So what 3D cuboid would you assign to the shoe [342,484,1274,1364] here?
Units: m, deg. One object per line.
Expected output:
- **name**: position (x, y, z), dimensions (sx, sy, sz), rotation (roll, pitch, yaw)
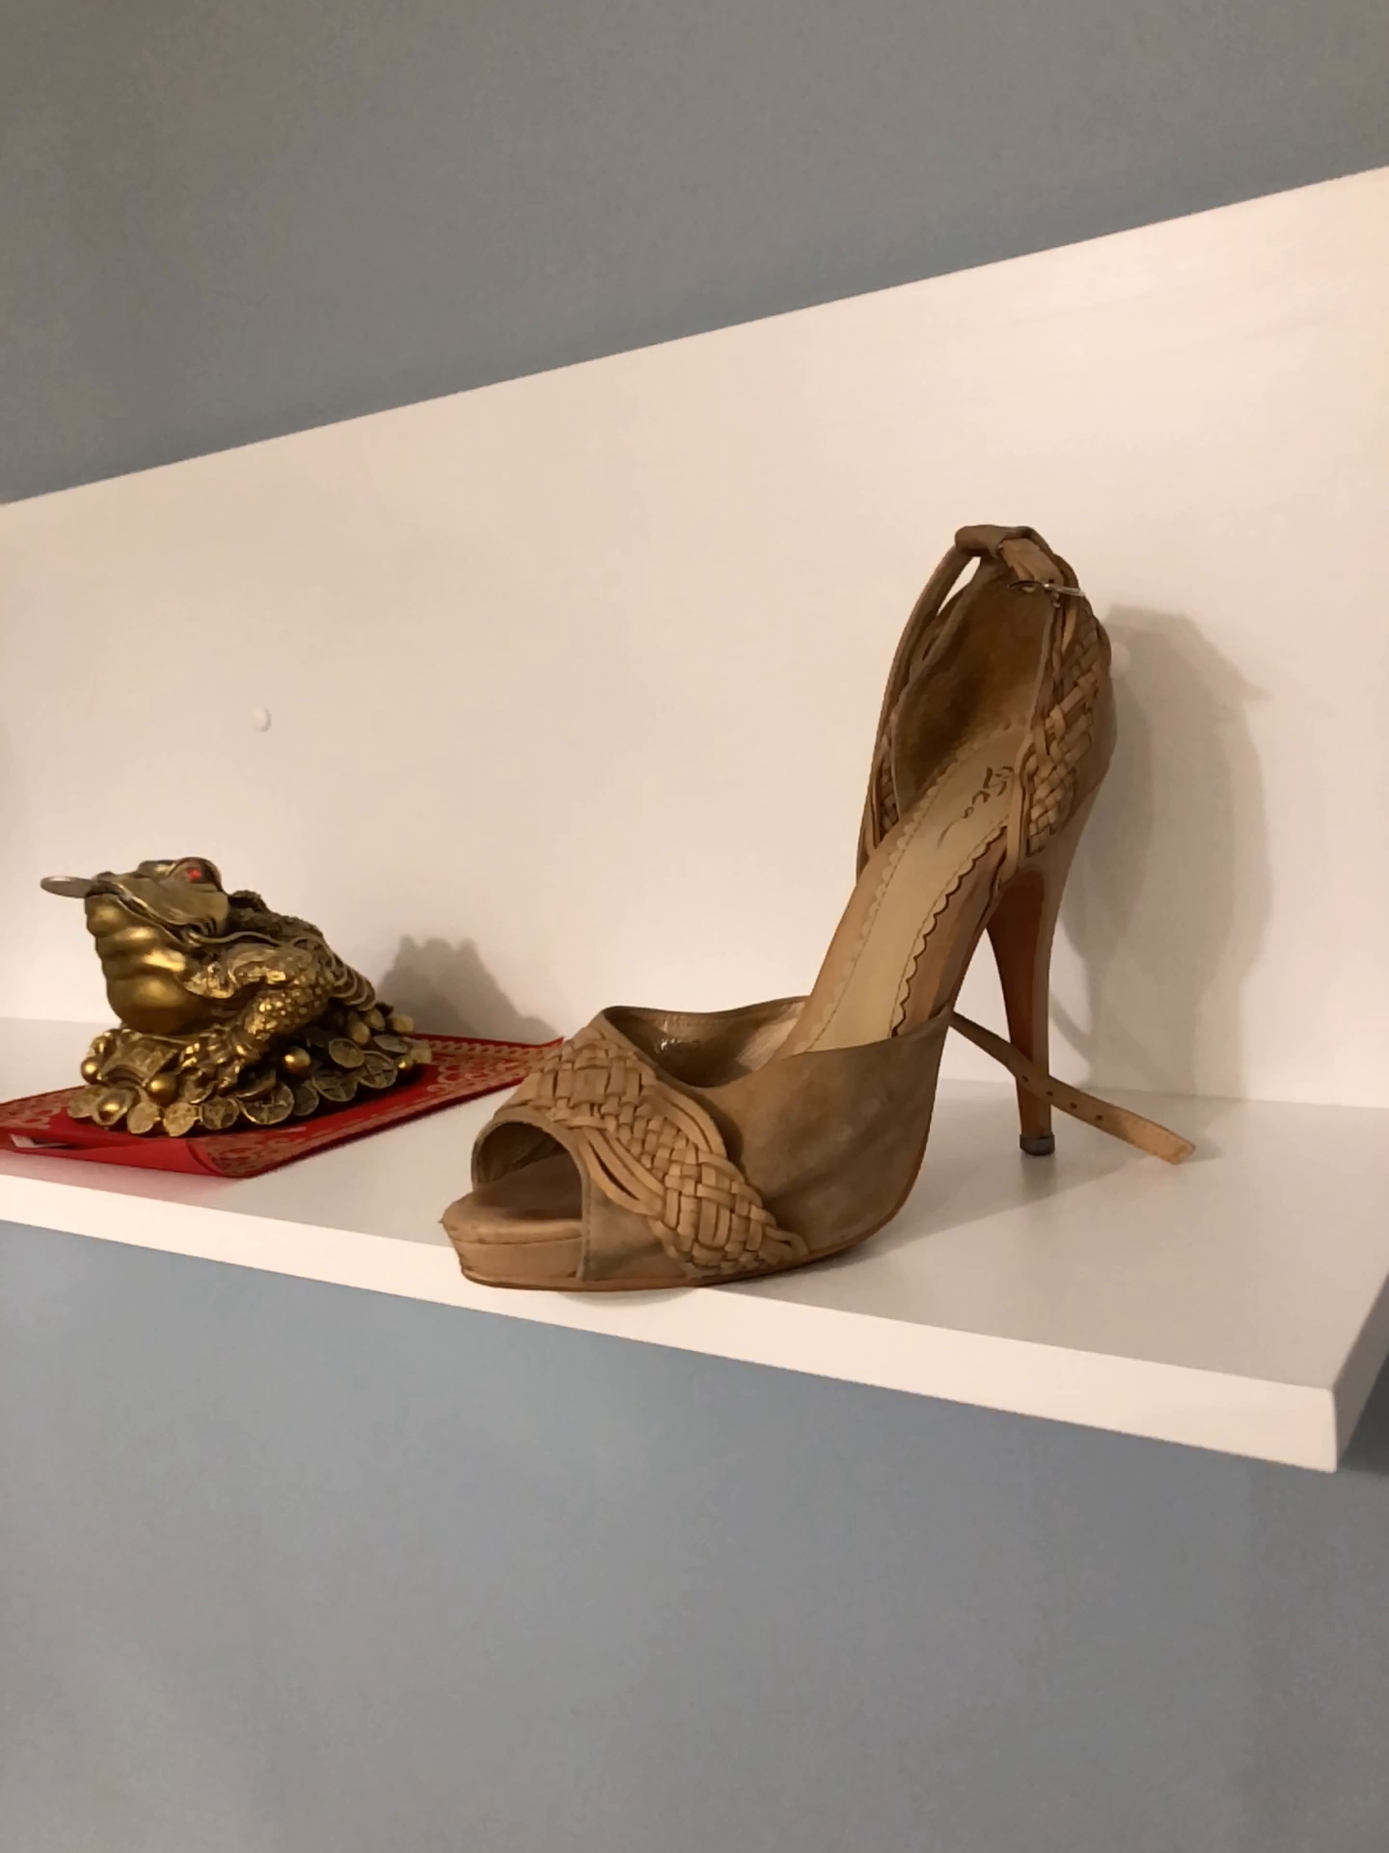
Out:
- **shoe**: position (0.032, -0.014, 0.400), dimensions (0.210, 0.180, 0.100), rotation (-7, 7, -25)
